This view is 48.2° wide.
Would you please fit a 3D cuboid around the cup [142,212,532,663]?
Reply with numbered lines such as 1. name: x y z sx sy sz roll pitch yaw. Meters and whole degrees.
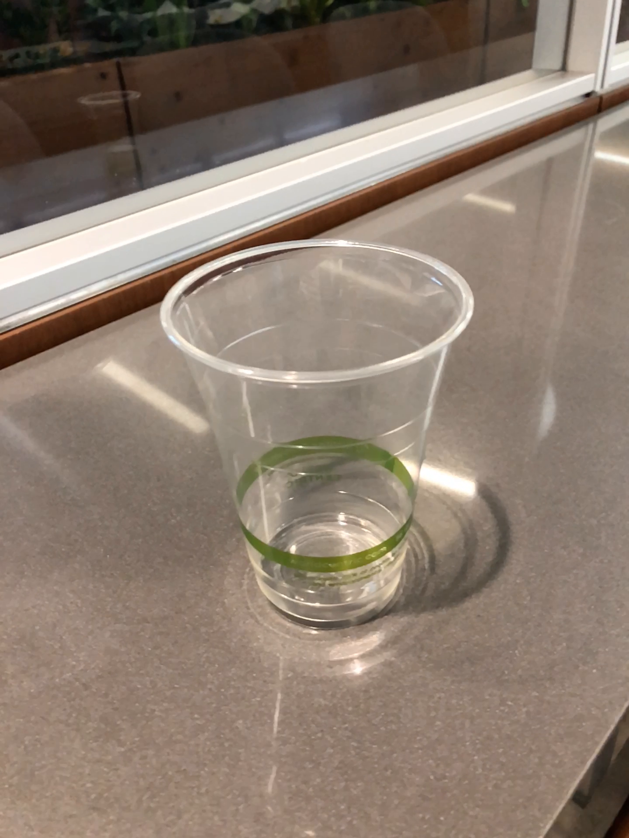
1. cup: 0.002 0.000 0.257 0.100 0.109 0.101 -3 34 2
